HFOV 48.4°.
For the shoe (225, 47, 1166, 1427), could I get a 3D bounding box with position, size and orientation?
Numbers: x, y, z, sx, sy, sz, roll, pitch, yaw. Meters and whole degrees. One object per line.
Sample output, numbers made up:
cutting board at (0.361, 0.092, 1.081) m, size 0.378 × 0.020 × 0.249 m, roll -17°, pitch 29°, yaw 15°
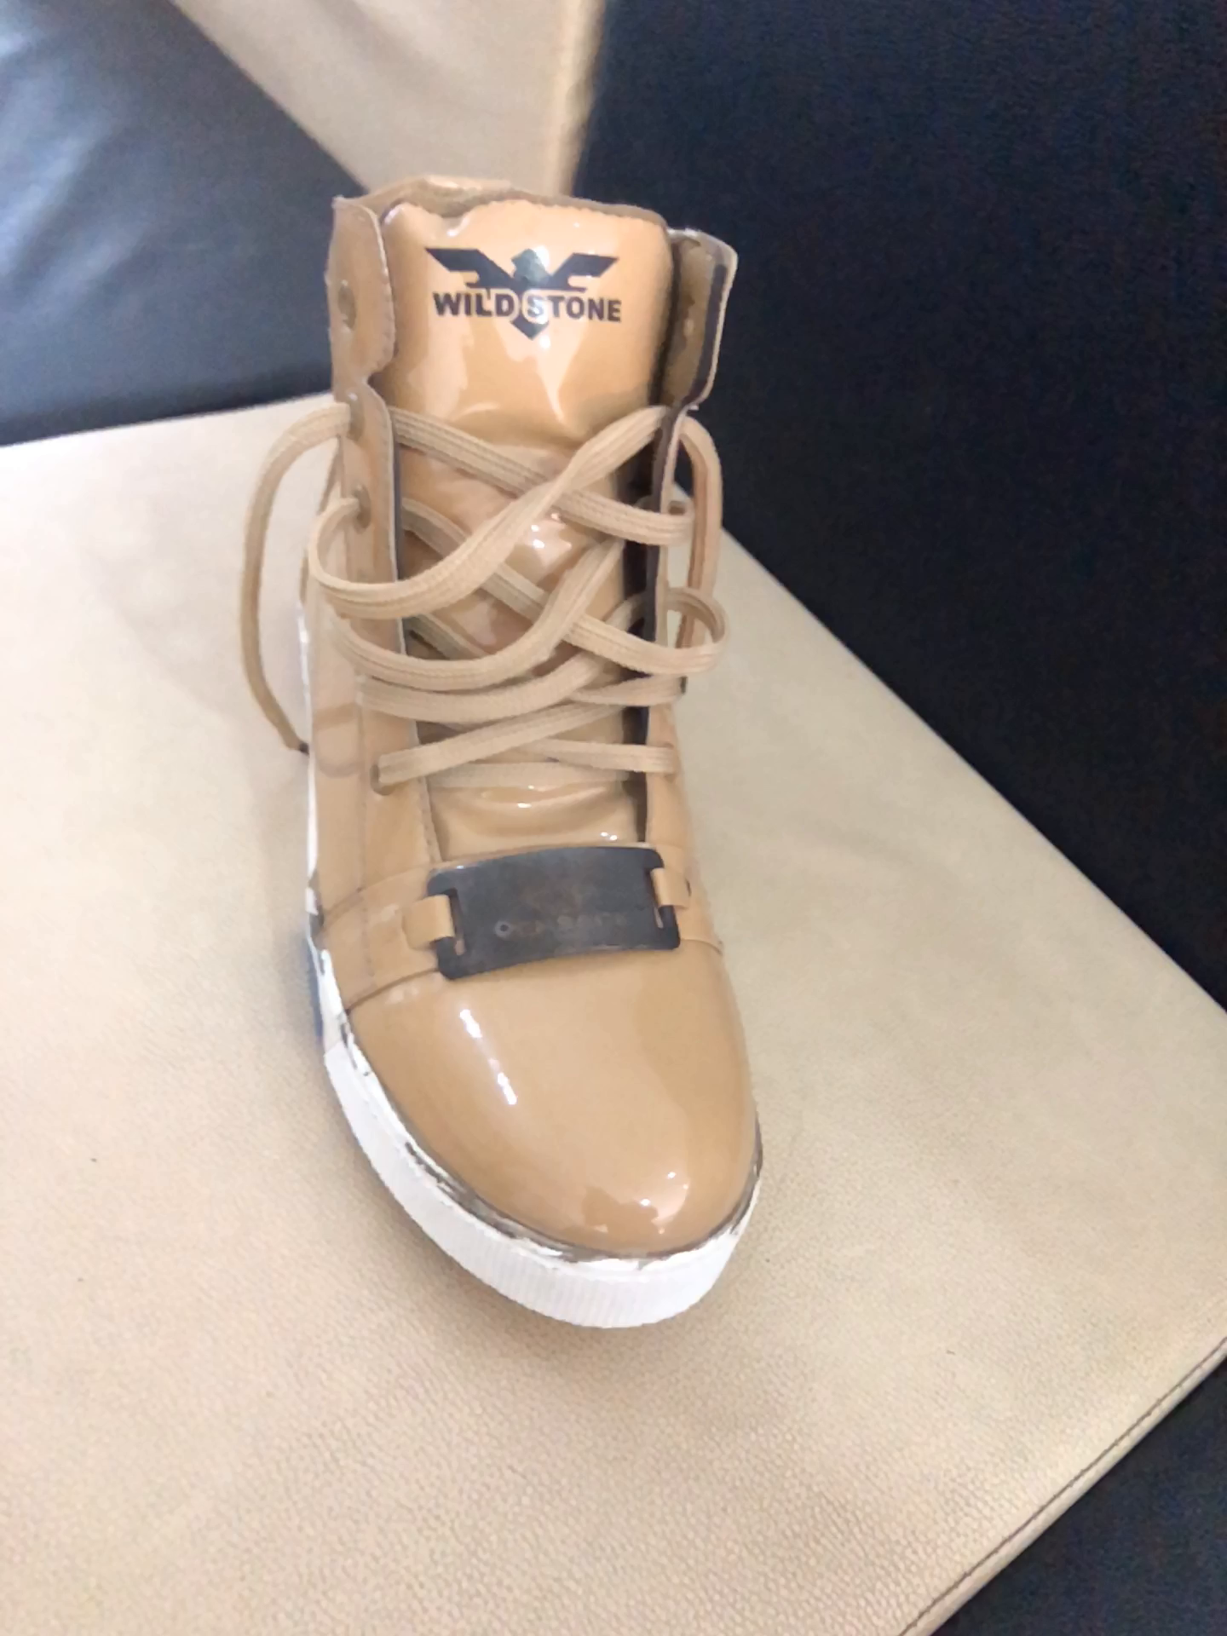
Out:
shoe at (-0.023, -0.038, 0.323) m, size 0.100 × 0.159 × 0.281 m, roll -6°, pitch 49°, yaw -19°
